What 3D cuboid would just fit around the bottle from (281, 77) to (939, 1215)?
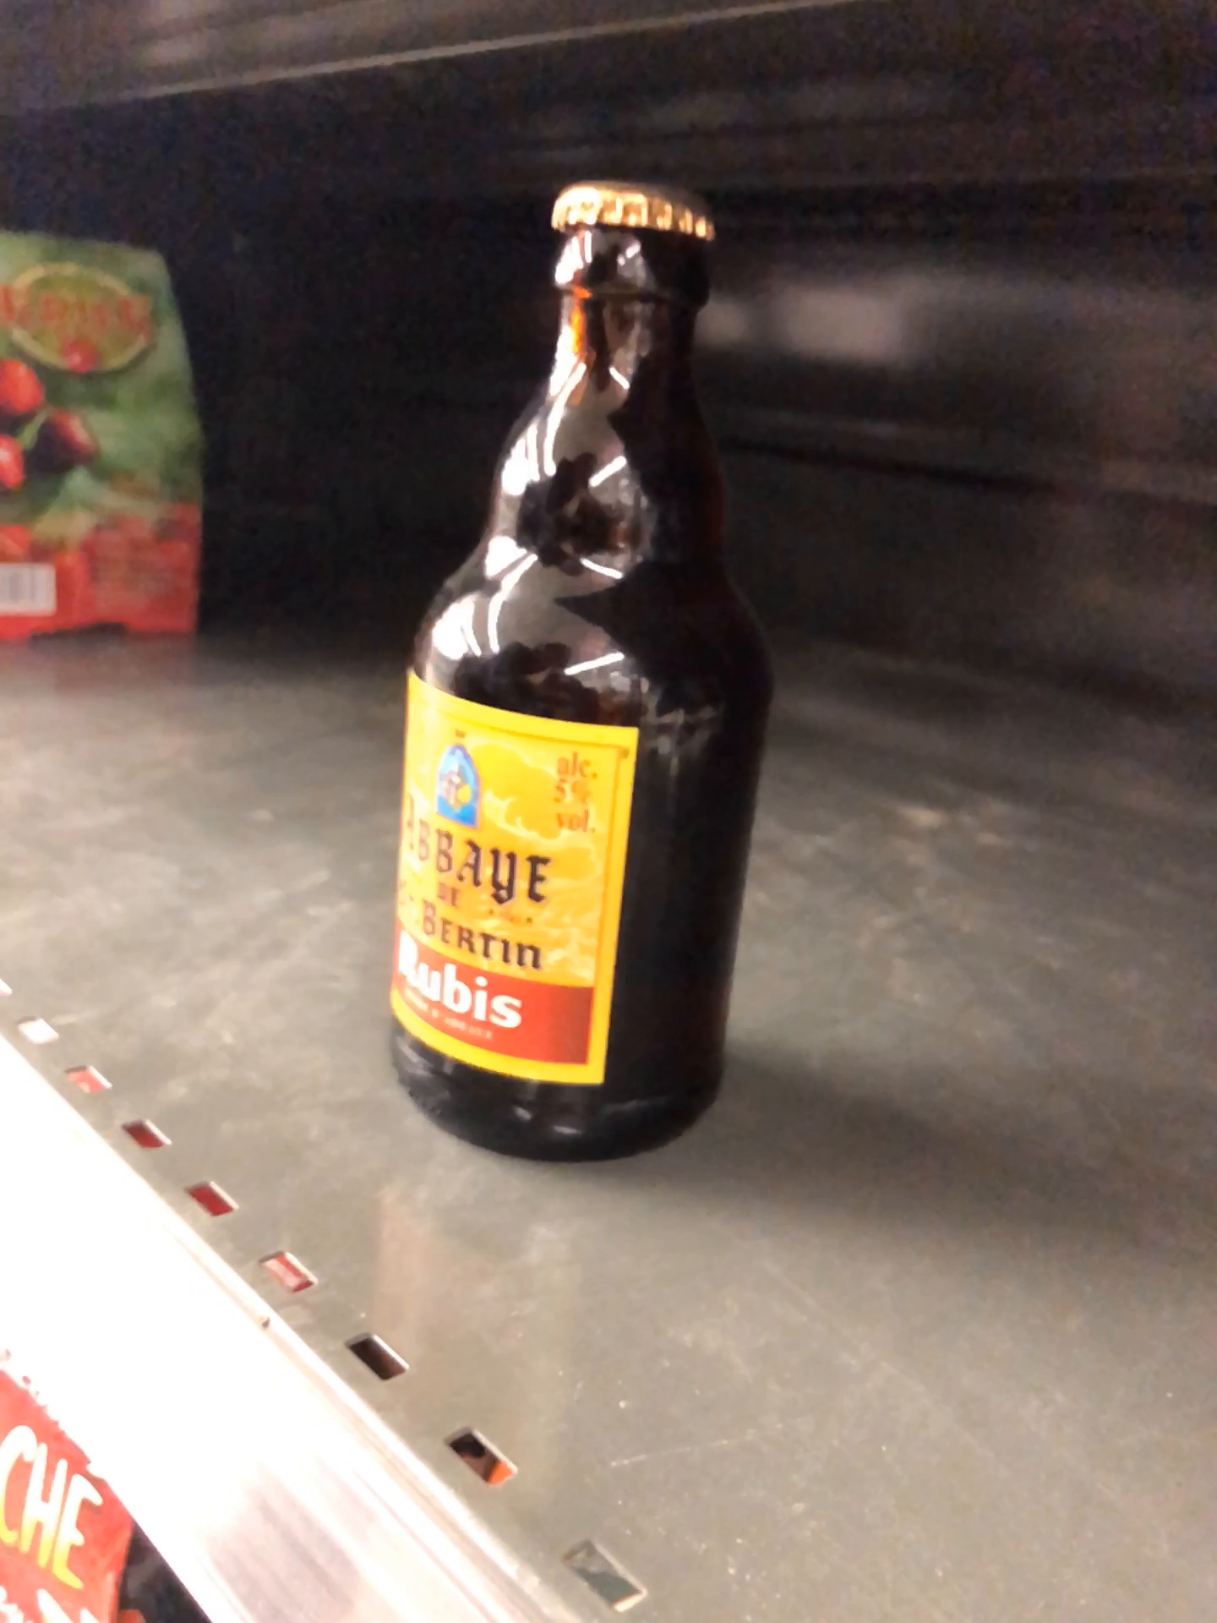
[{"bbox_3d":[-0.006,-0.030,0.253,0.070,0.169,0.080,-10,22,-43],"label":"bottle"}]
